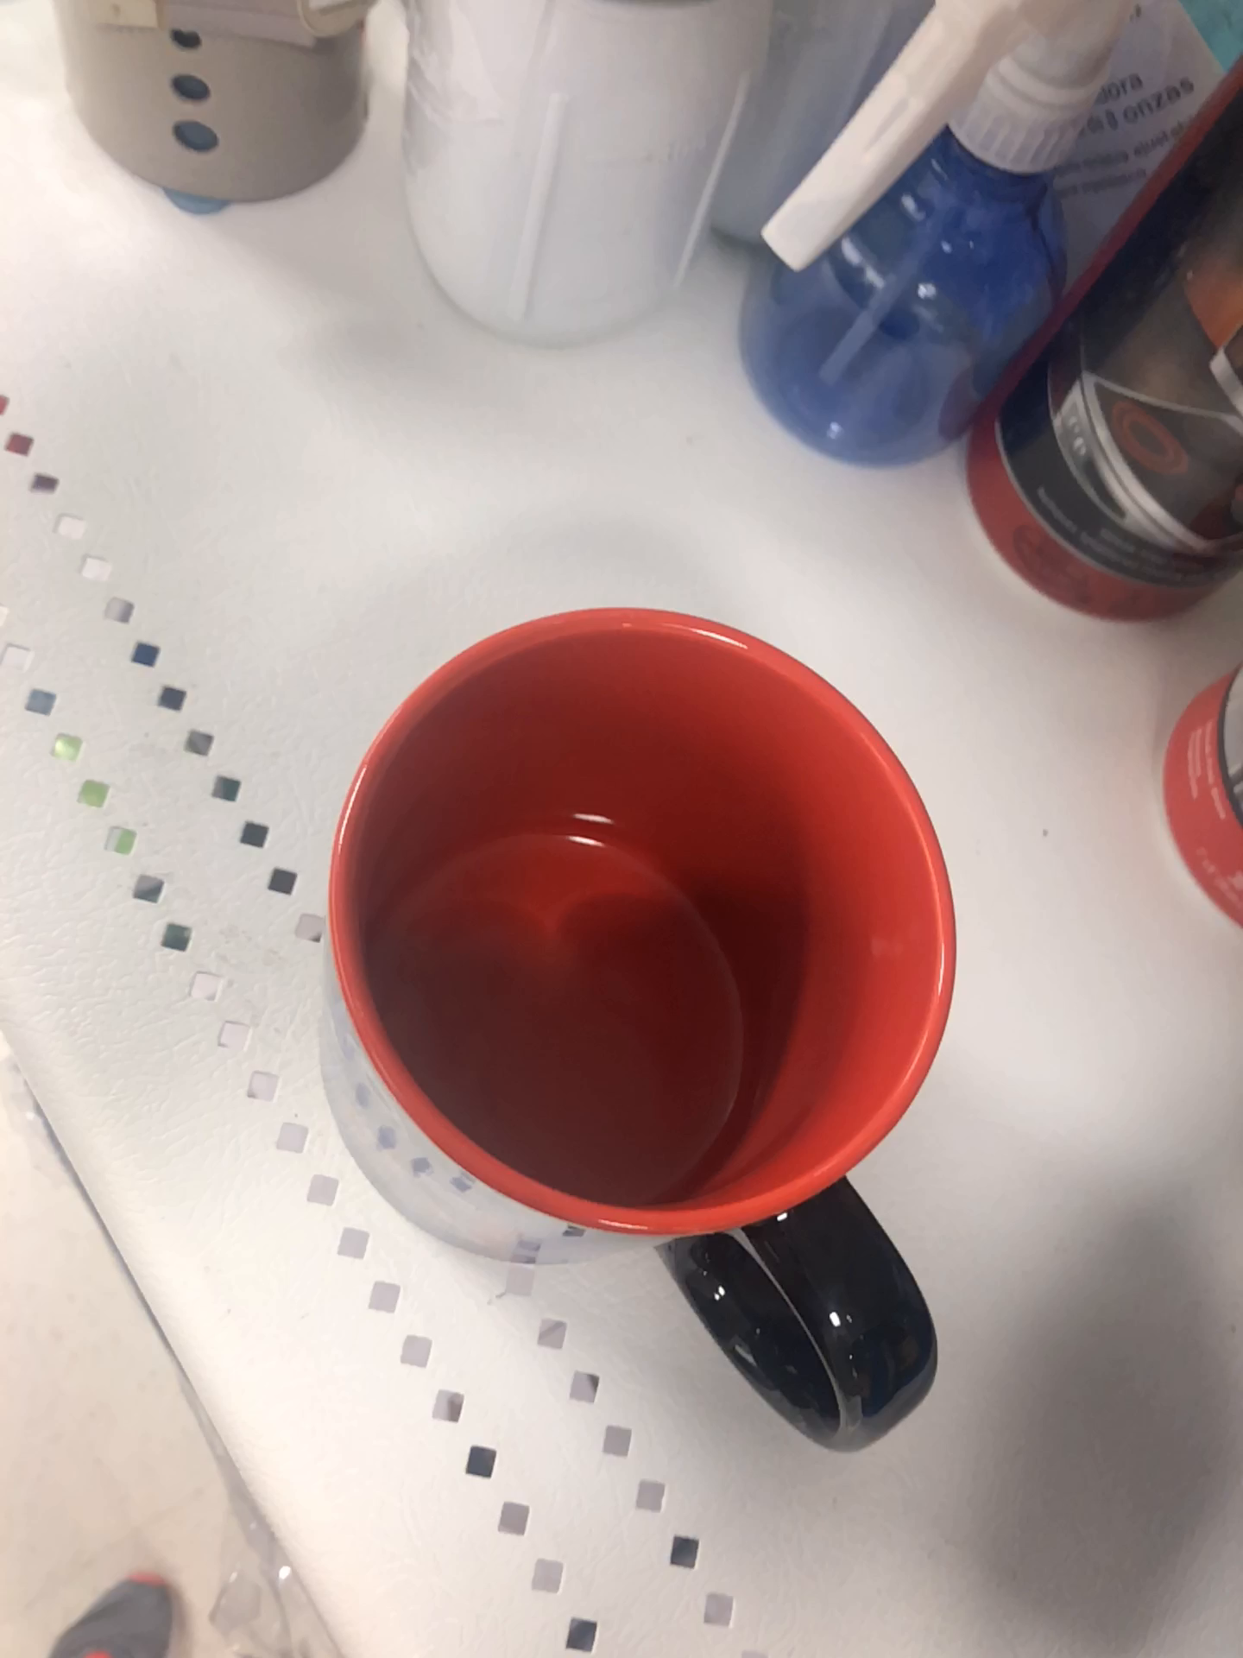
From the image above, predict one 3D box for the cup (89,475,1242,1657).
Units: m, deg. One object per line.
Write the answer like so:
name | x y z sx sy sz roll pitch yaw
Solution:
cup | 0.001 0.043 0.256 0.113 0.103 0.147 -34 81 -21
